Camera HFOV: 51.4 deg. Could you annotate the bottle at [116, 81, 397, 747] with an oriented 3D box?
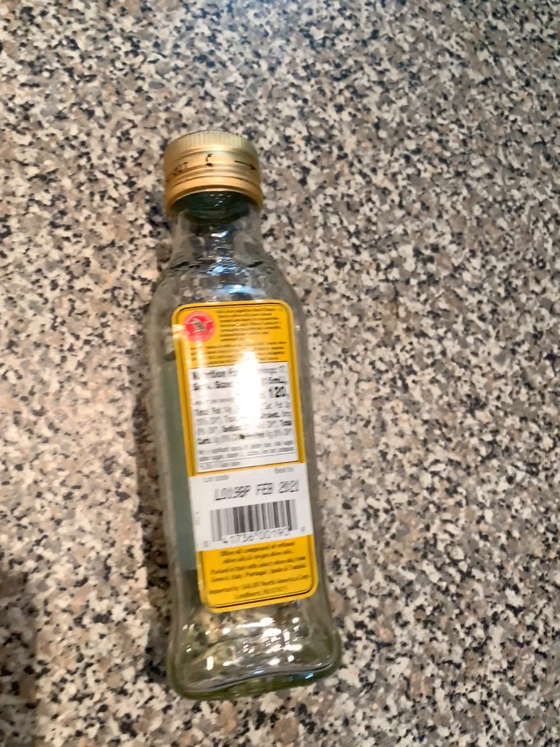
[{"bbox_3d":[-0.015,0.008,0.187,0.060,0.060,0.180,-4,80,-13],"label":"bottle"}]
